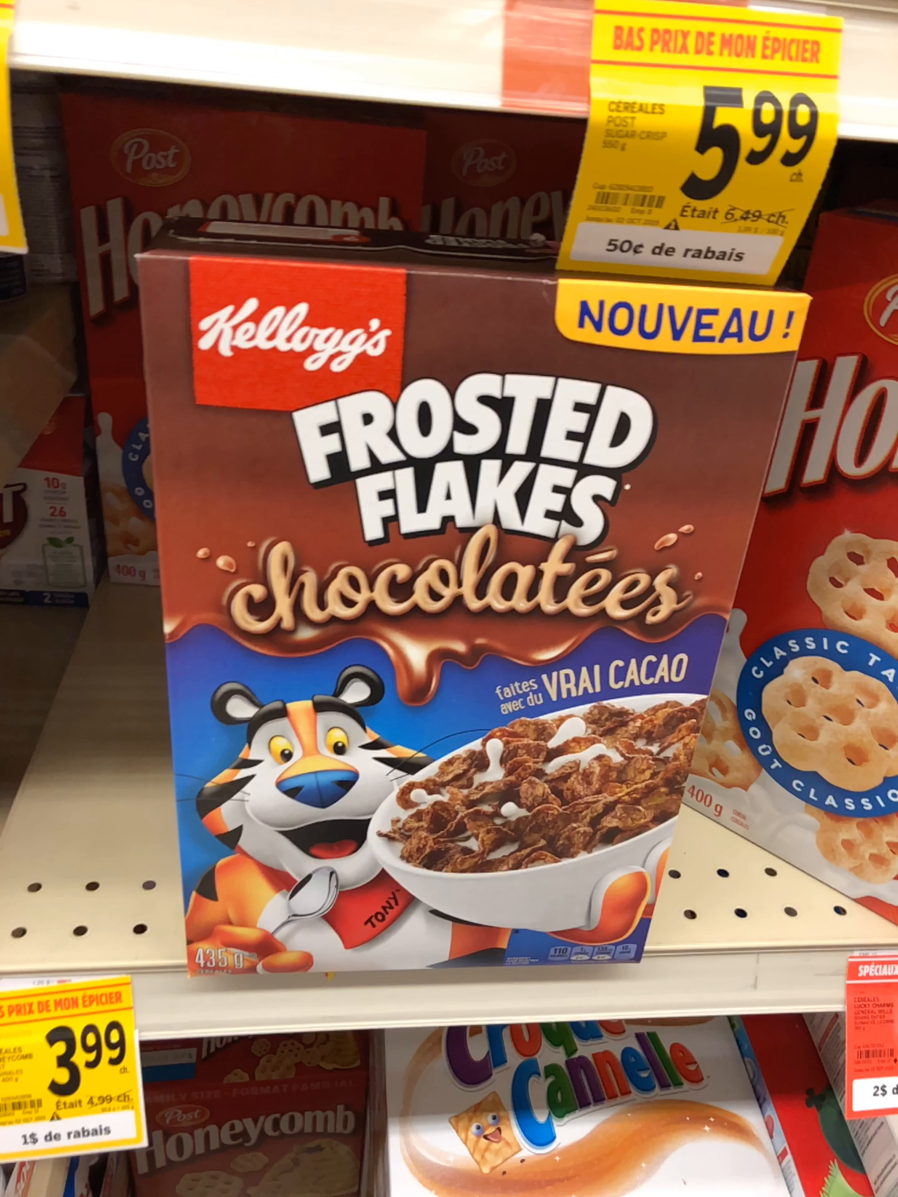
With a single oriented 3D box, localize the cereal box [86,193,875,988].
[{"bbox_3d":[-0.002,0.015,0.359,0.210,0.278,0.071,2,29,-7],"label":"cereal box"}]
